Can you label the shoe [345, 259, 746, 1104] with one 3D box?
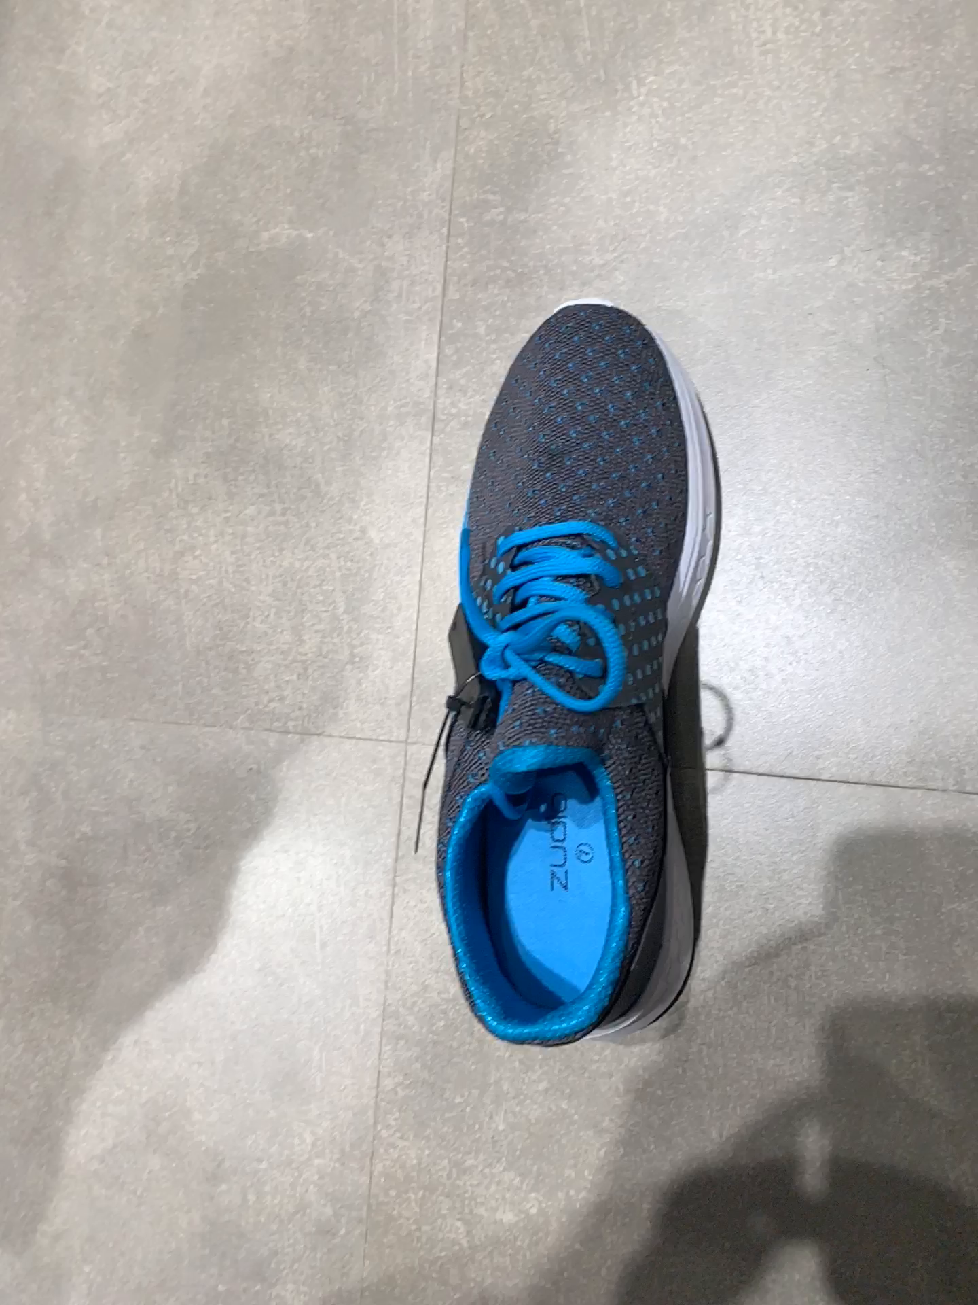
[{"bbox_3d":[0.022,0.011,0.333,0.102,0.102,0.227,-4,83,19],"label":"shoe"}]
